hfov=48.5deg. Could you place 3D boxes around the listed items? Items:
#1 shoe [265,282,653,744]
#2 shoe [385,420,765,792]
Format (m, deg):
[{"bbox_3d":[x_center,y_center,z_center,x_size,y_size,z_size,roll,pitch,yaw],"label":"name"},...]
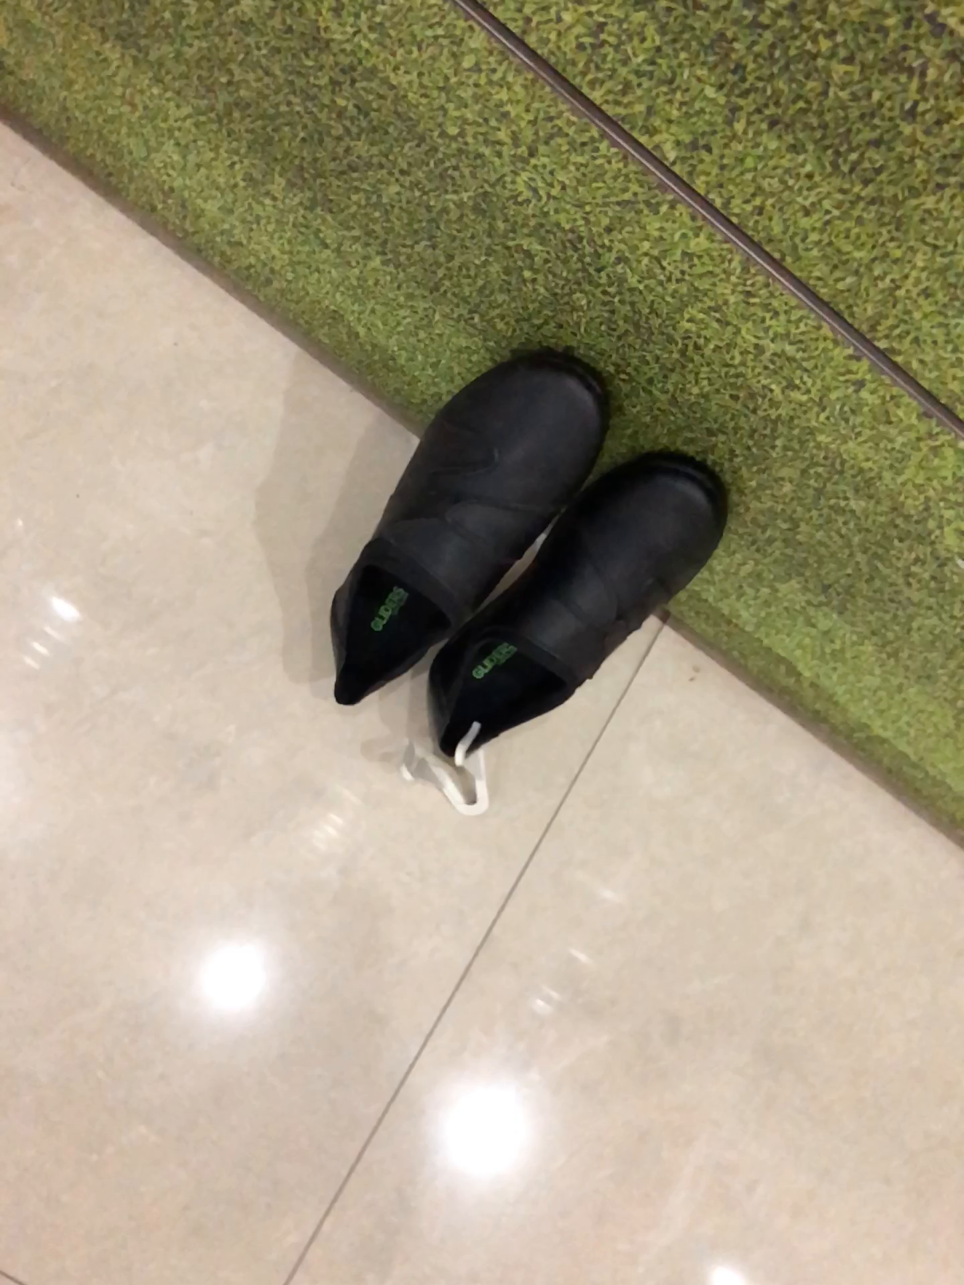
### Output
[{"bbox_3d":[-0.015,-0.070,0.627,0.087,0.248,0.107,35,31,-10],"label":"shoe"},{"bbox_3d":[0.047,-0.013,0.611,0.074,0.229,0.067,41,36,-9],"label":"shoe"}]
